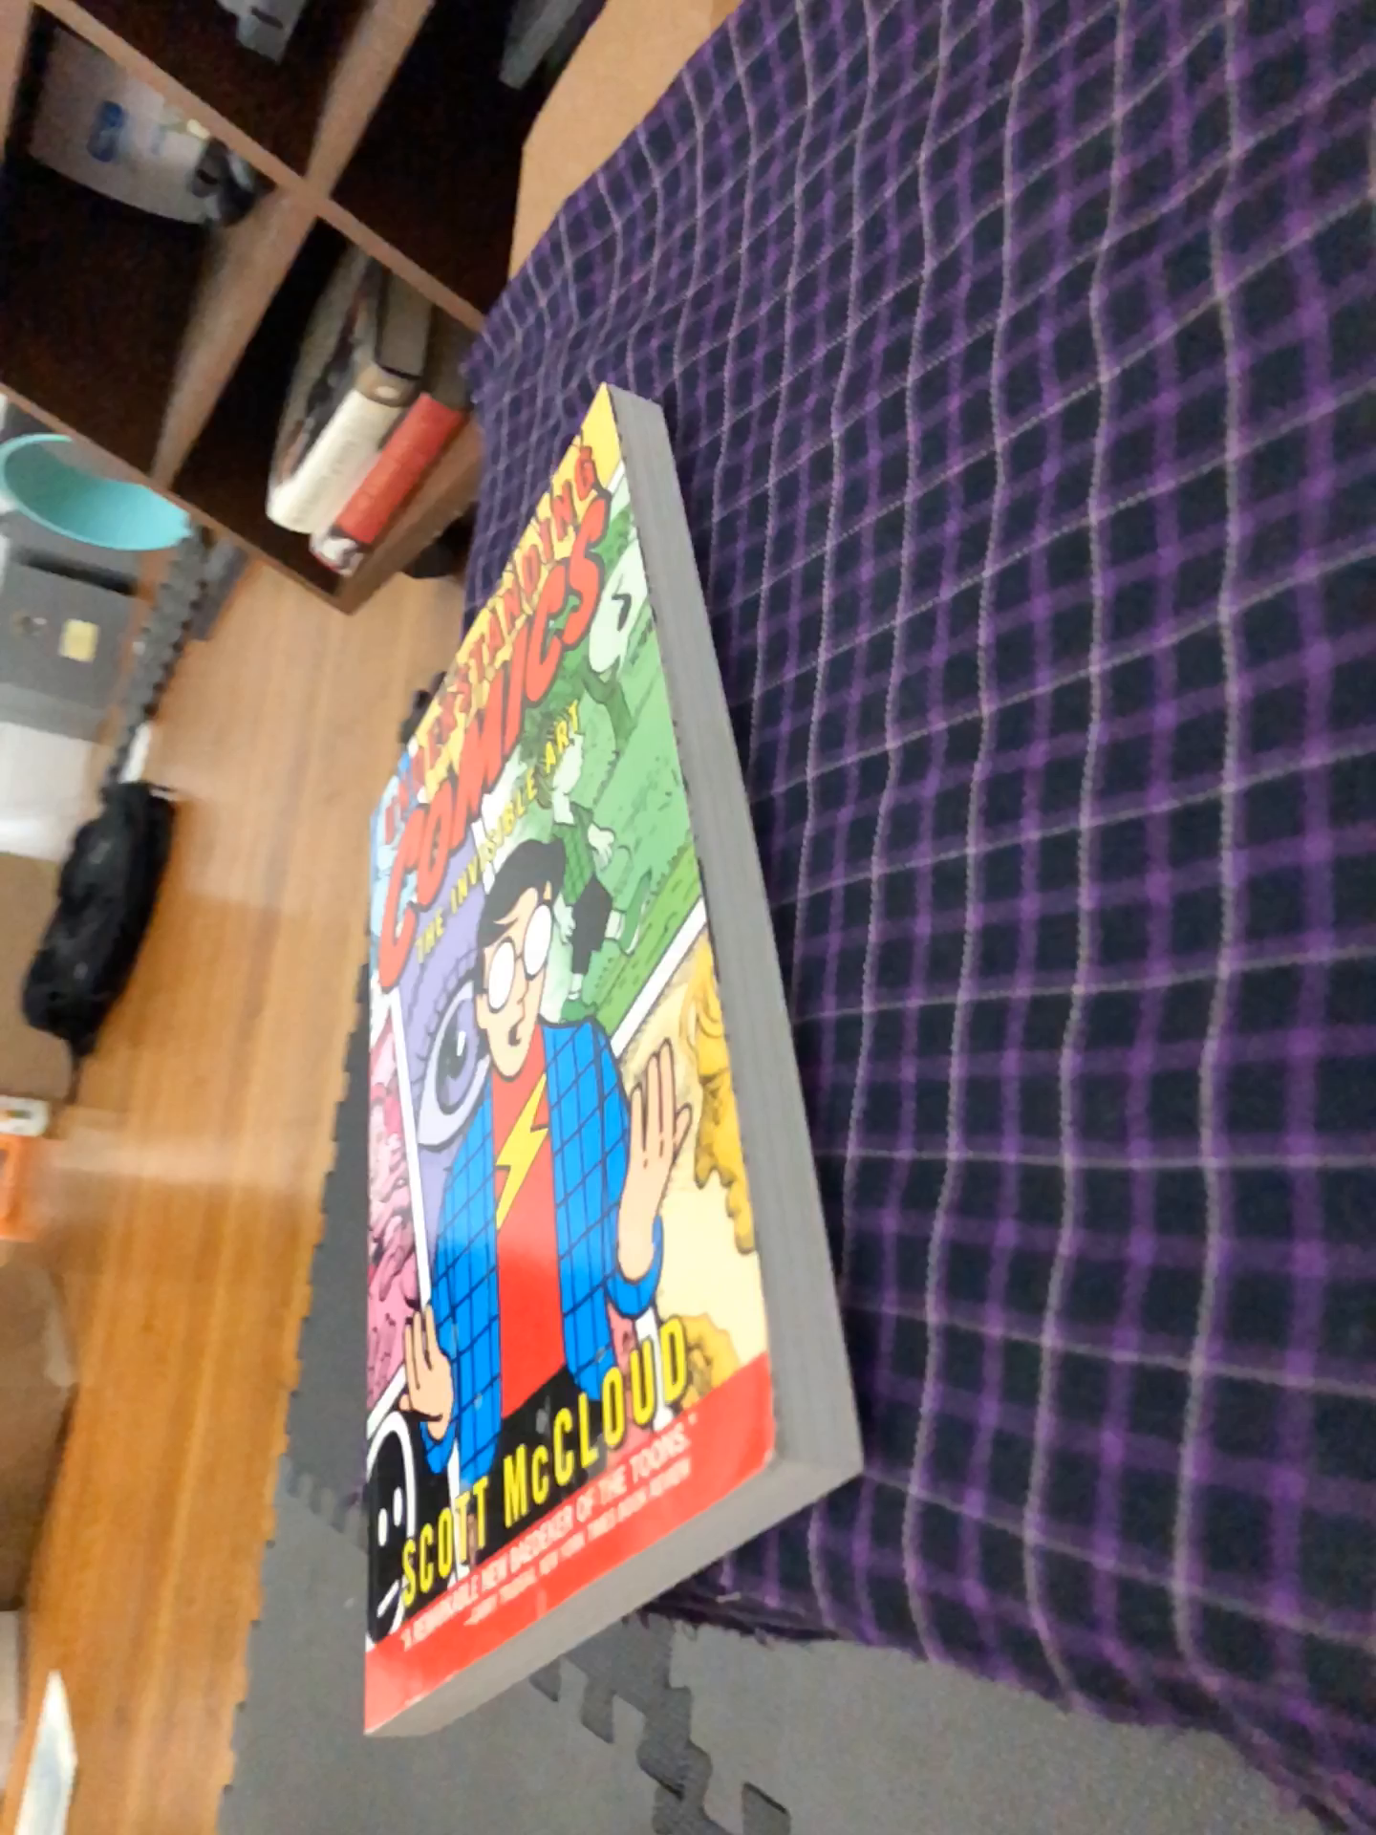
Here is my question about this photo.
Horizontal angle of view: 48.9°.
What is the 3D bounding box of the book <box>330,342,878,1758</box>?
[{"bbox_3d":[-0.041,0.020,0.342,0.170,0.020,0.271,-50,37,41],"label":"book"}]
